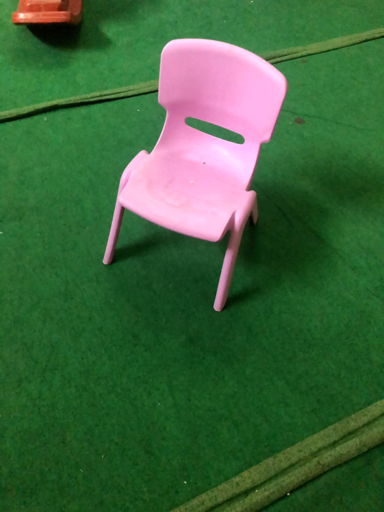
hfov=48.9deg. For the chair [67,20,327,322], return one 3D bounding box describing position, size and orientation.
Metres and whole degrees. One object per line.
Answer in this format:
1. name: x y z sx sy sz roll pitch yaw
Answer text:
1. chair: 0.016 -0.183 0.990 0.380 0.449 0.411 20 56 7
